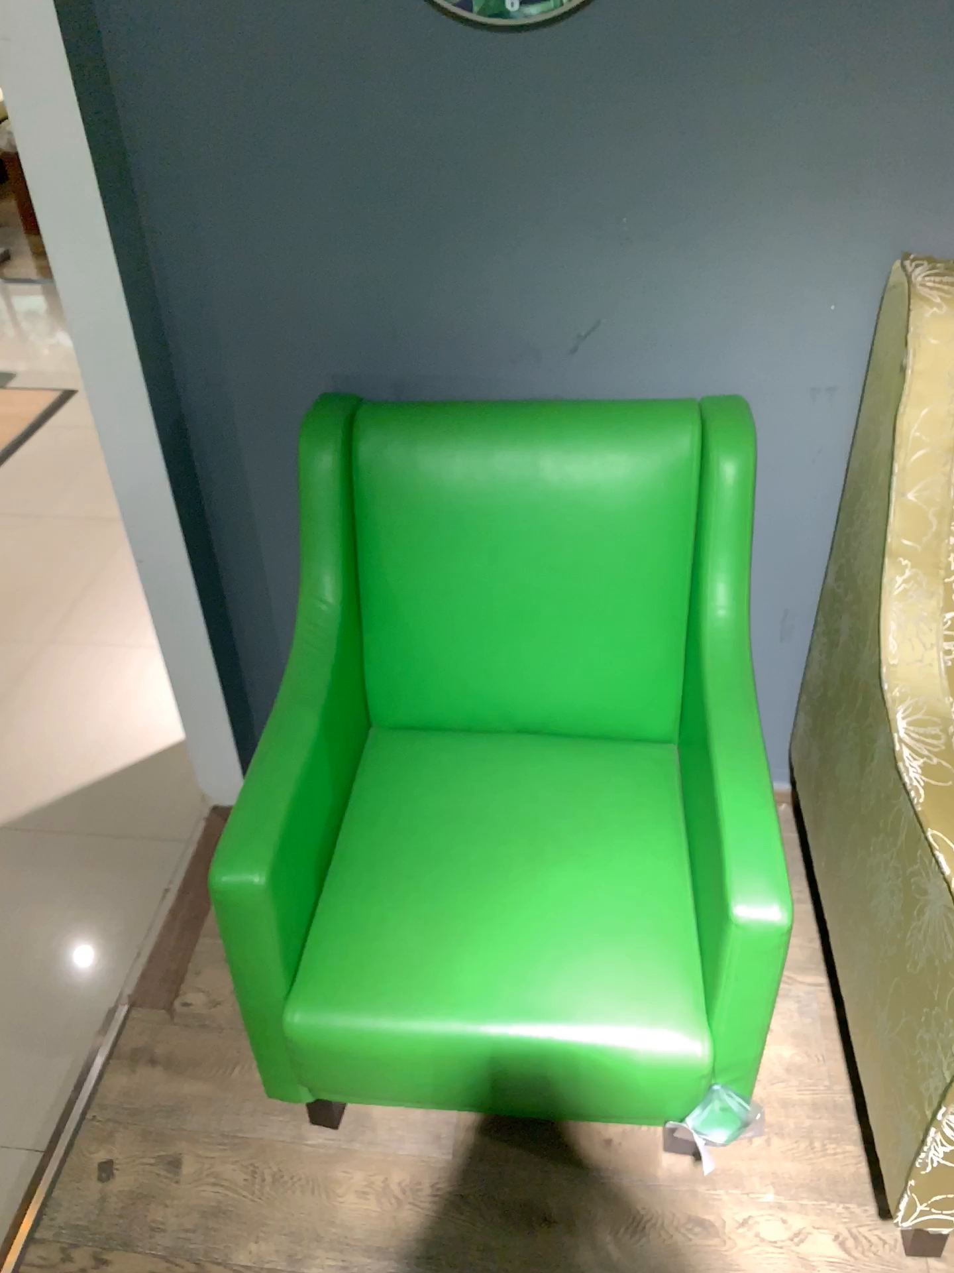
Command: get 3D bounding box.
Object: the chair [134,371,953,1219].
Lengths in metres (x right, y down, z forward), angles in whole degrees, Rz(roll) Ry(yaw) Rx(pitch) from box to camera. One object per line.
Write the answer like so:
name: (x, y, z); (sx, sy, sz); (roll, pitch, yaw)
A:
chair: (0.109, 0.170, 1.379); (0.710, 0.787, 0.813); (3, 37, 6)
